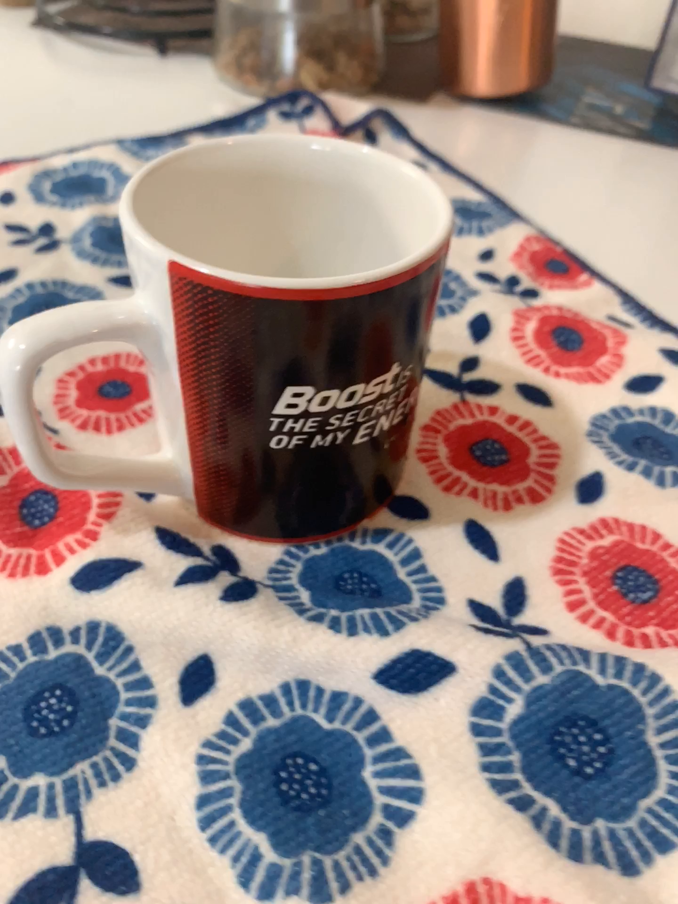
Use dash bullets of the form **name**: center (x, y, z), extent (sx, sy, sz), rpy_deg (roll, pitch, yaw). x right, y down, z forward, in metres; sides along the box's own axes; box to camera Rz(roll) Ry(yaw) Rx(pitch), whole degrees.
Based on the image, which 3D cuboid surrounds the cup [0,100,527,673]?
- **cup**: center (-0.029, -0.024, 0.188), extent (0.110, 0.089, 0.080), rpy_deg (-24, 50, -27)
